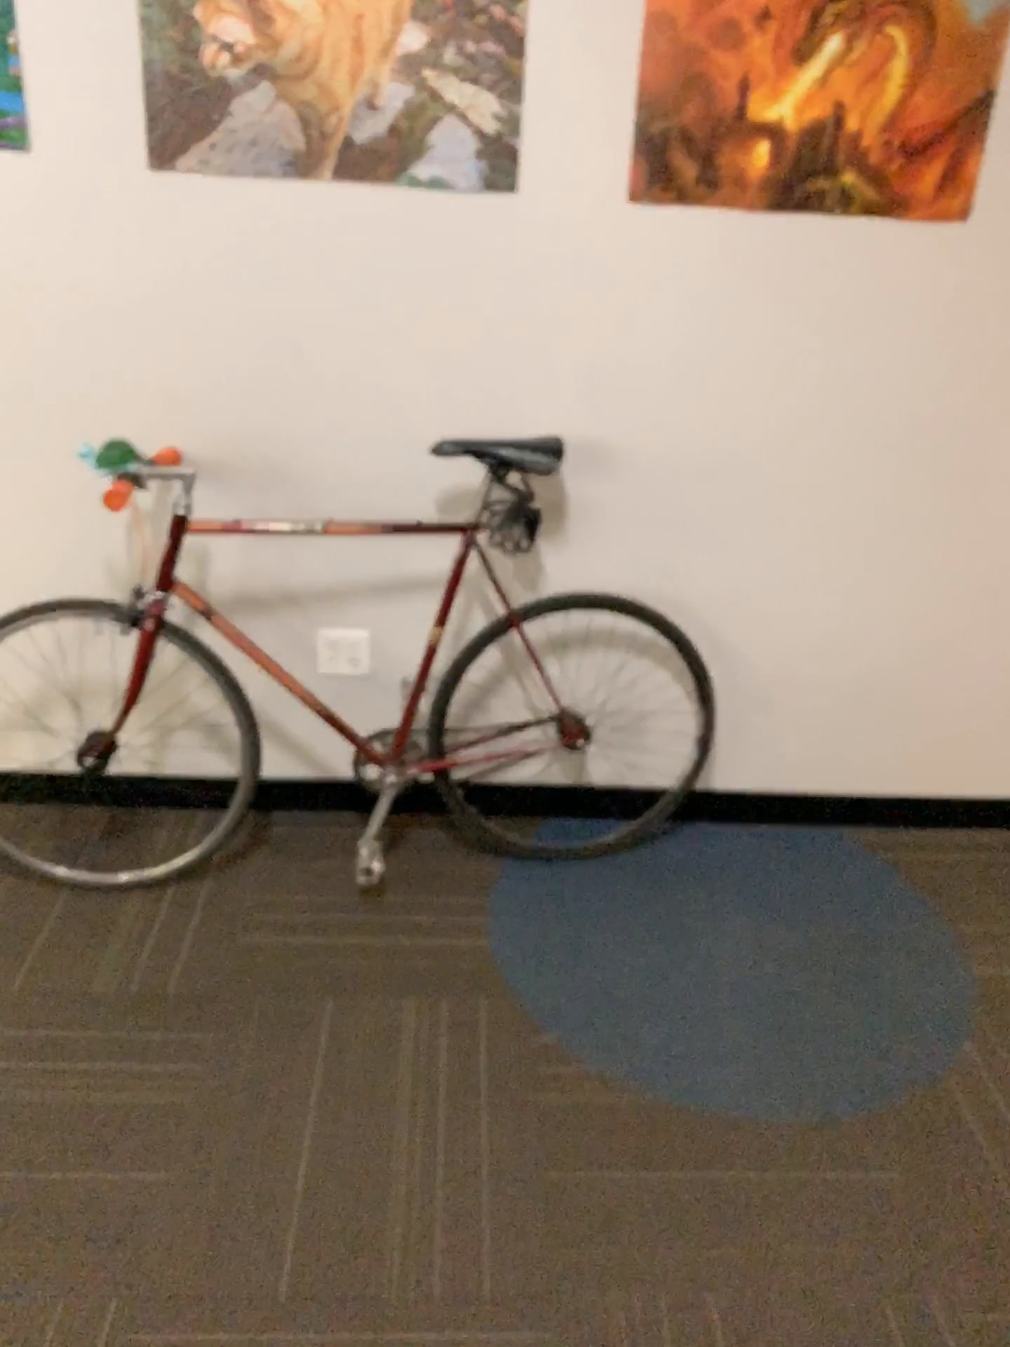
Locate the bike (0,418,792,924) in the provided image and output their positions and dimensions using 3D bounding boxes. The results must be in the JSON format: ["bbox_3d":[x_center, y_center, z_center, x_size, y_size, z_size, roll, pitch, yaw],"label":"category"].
[{"bbox_3d":[-0.332,-0.012,2.244,1.625,0.909,0.451,-1,26,-9],"label":"bike"}]
